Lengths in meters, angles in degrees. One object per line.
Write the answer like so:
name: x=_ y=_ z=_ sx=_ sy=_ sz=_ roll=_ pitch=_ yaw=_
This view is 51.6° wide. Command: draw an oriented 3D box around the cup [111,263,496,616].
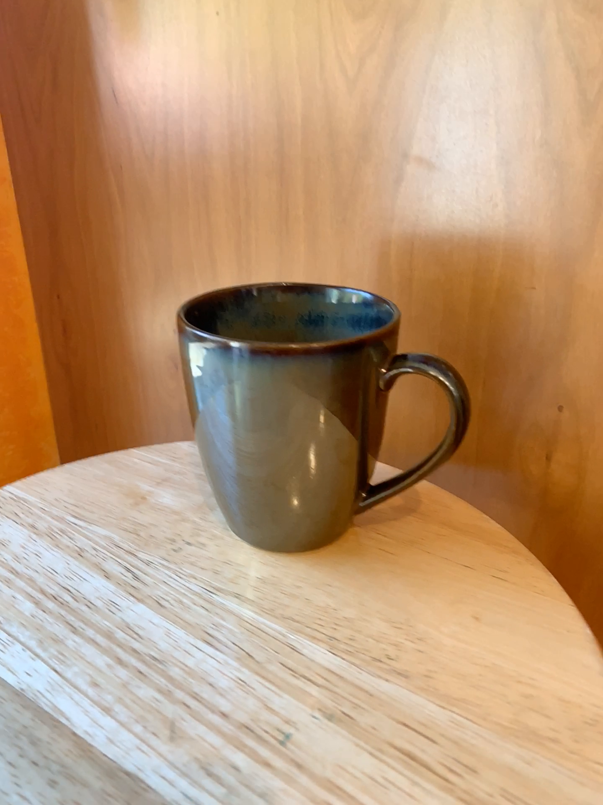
cup: x=0.000 y=0.003 z=0.252 sx=0.120 sy=0.090 sz=0.080 roll=16 pitch=28 yaw=31
